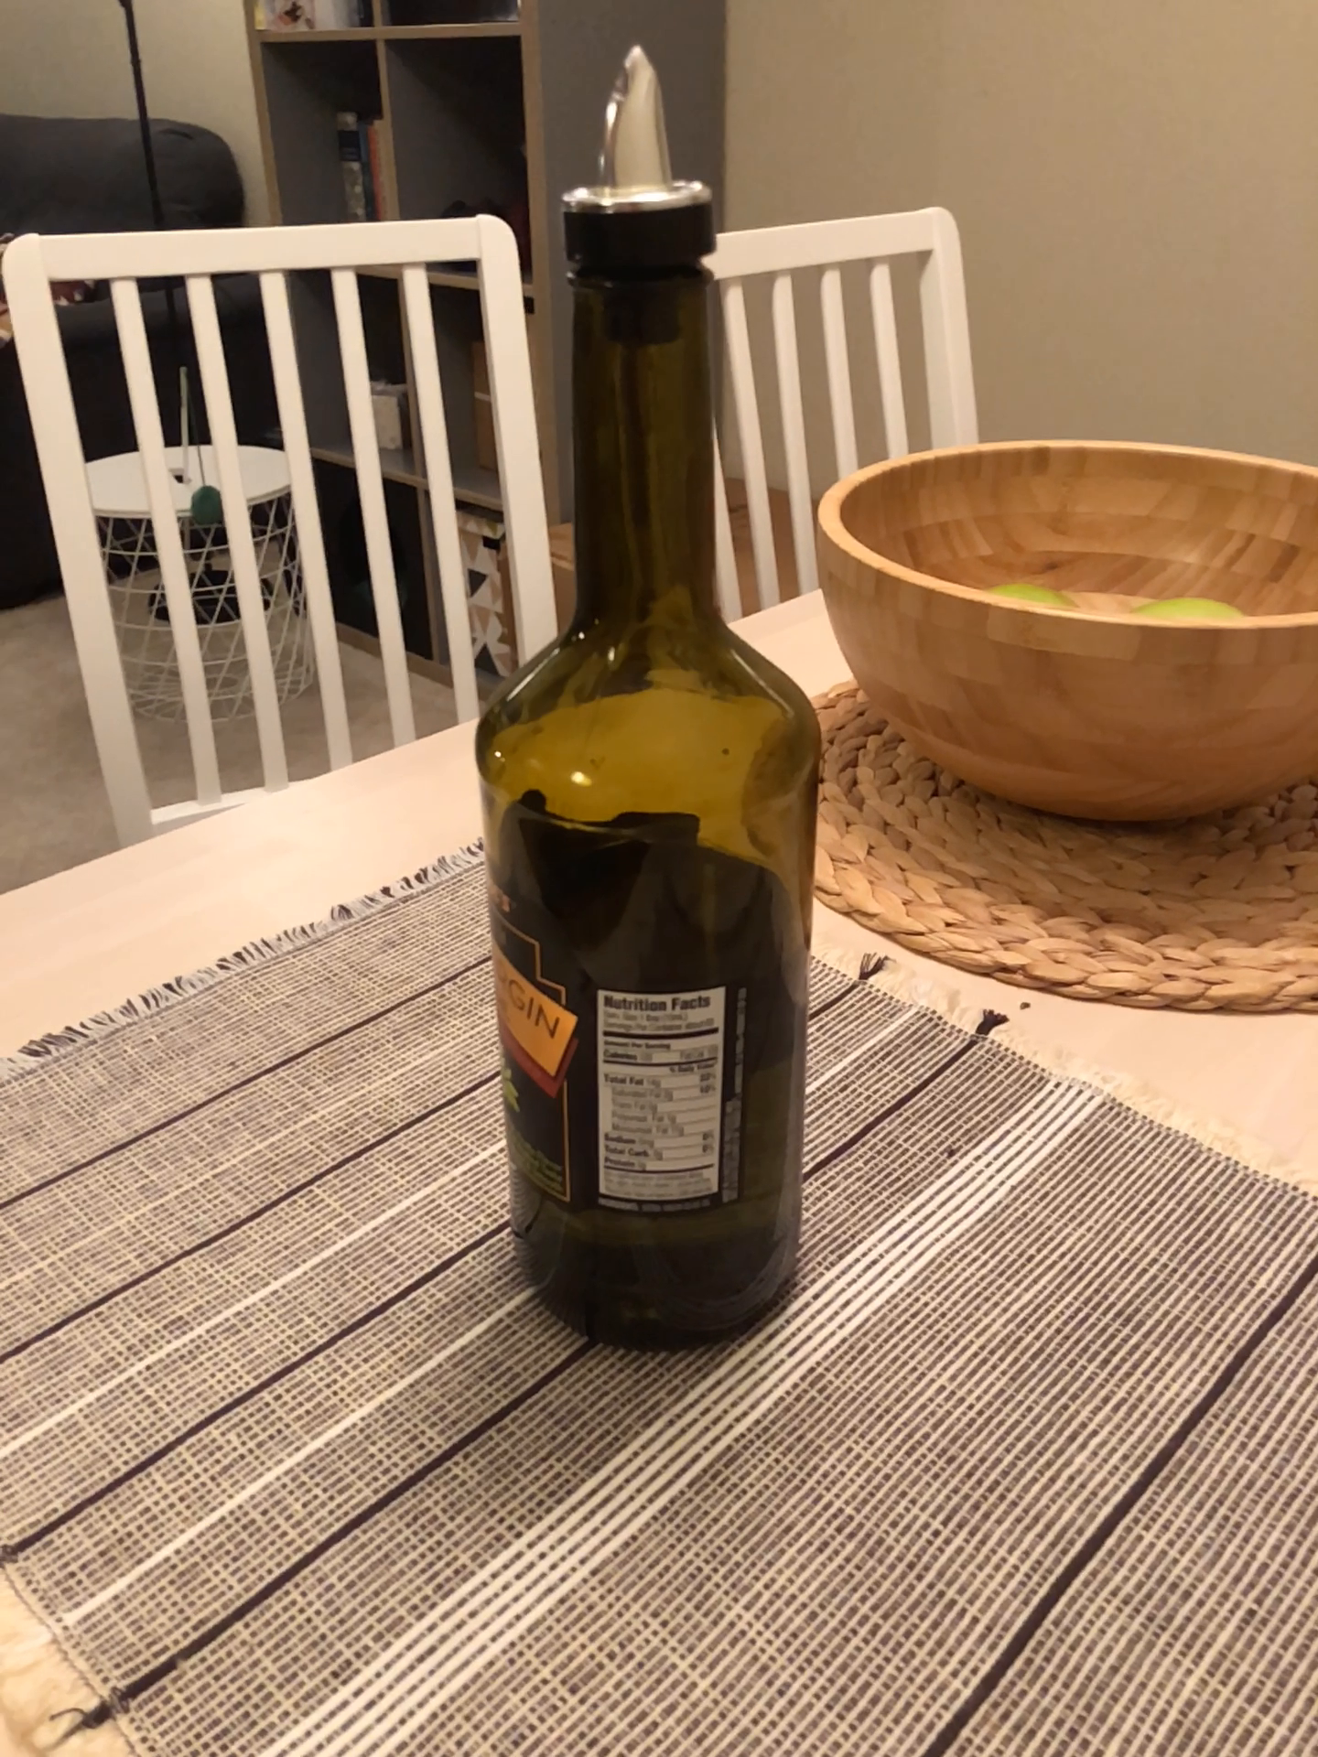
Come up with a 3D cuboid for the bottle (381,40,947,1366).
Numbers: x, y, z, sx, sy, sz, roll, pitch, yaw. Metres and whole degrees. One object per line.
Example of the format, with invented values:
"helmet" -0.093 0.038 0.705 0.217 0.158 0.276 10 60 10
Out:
"bottle" -0.002 -0.028 0.353 0.094 0.304 0.091 0 29 0
